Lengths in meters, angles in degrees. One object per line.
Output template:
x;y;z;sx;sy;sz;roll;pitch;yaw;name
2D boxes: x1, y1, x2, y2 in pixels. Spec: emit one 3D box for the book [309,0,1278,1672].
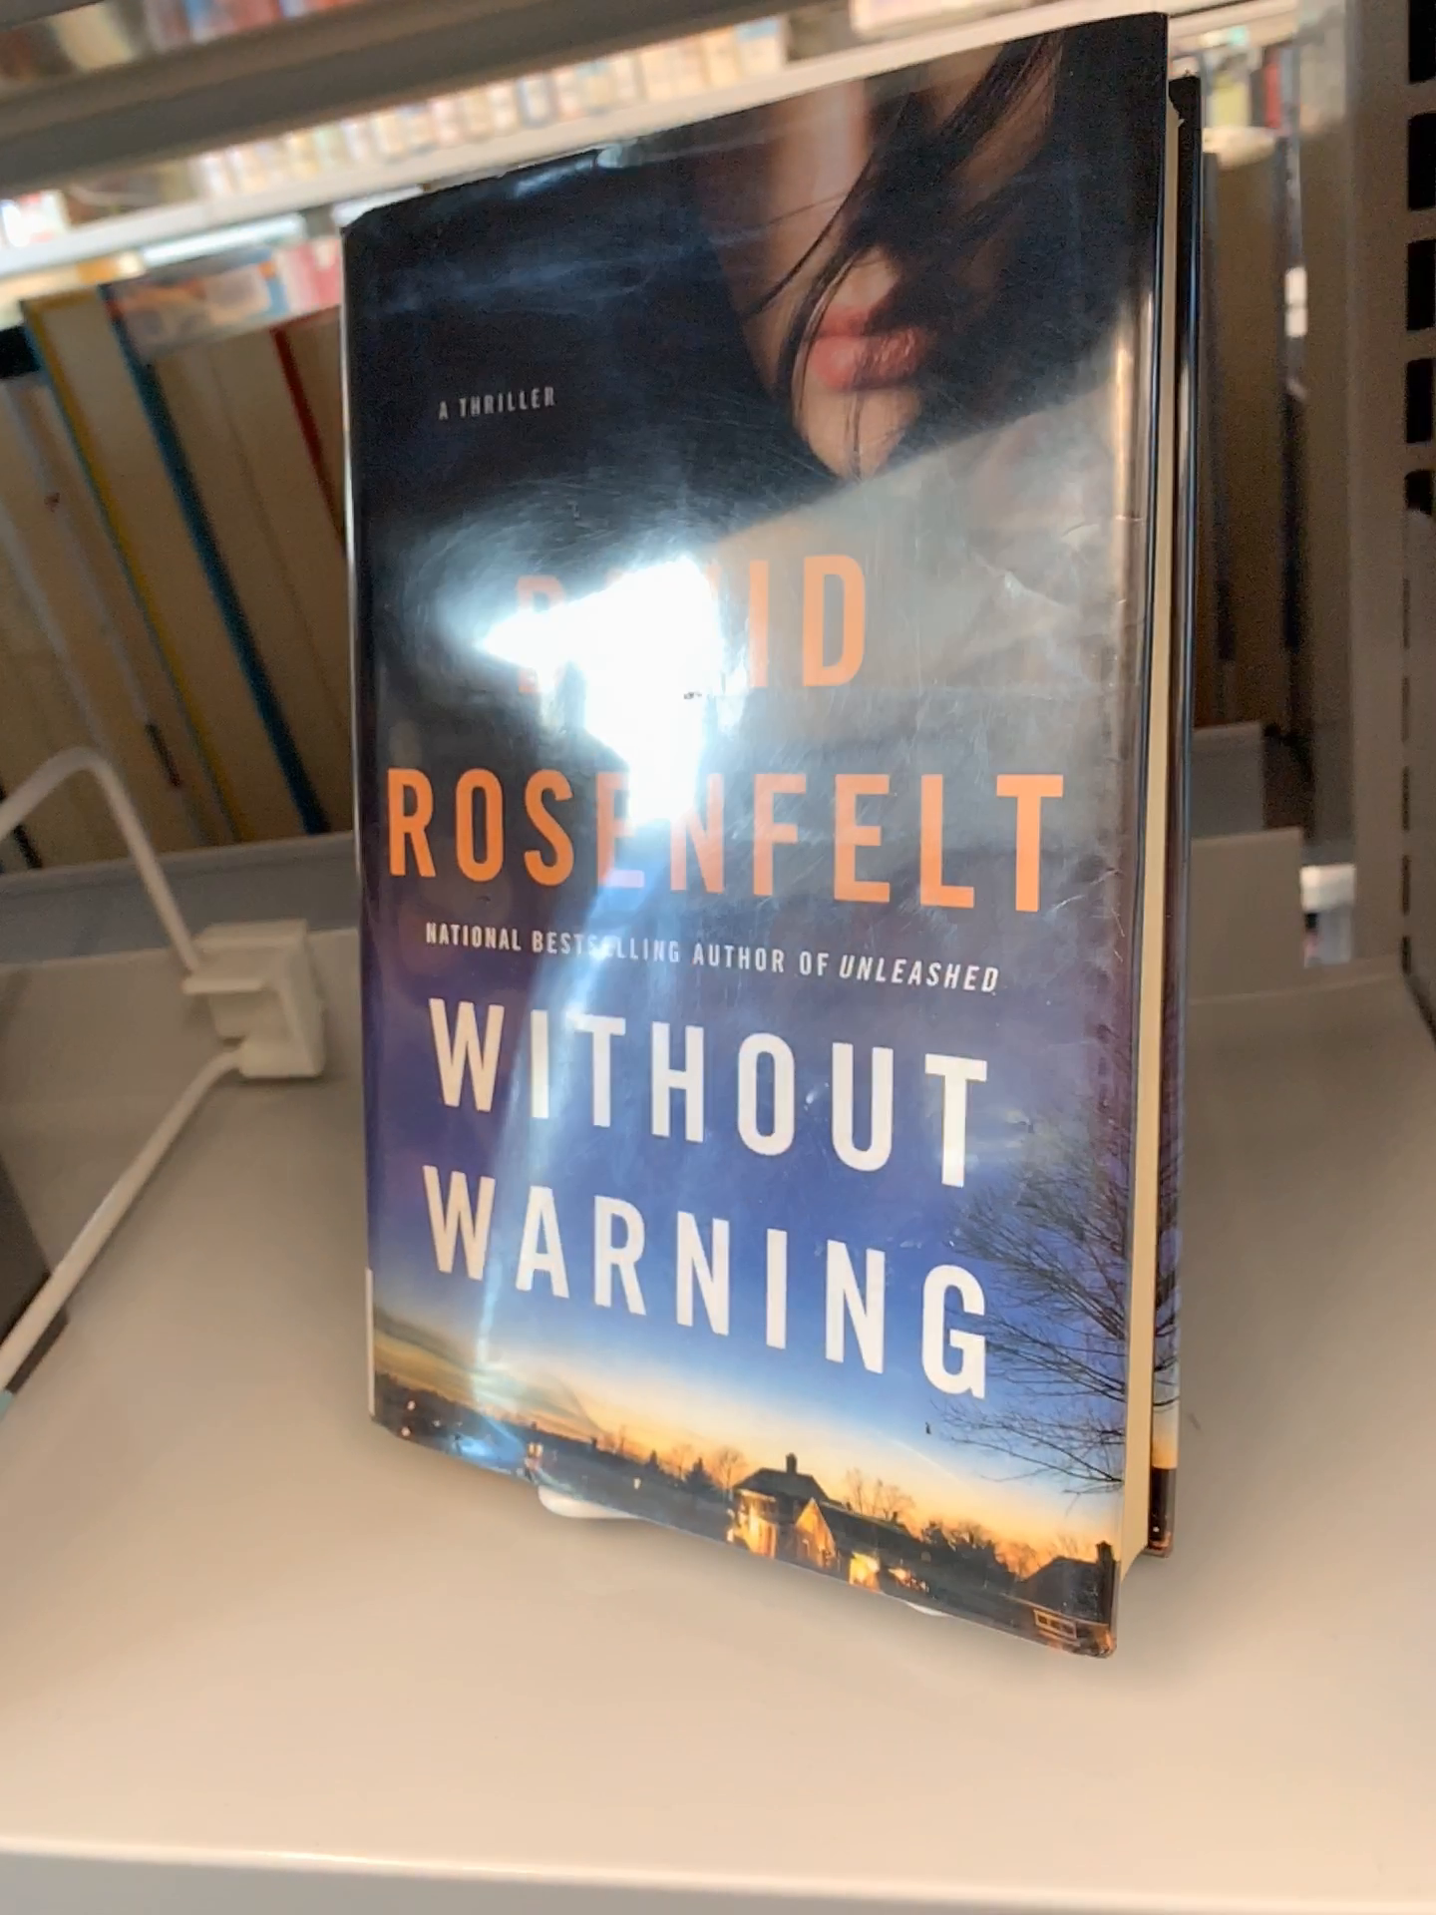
0.005;-0.018;0.257;0.157;0.230;0.035;5;10;31;book
